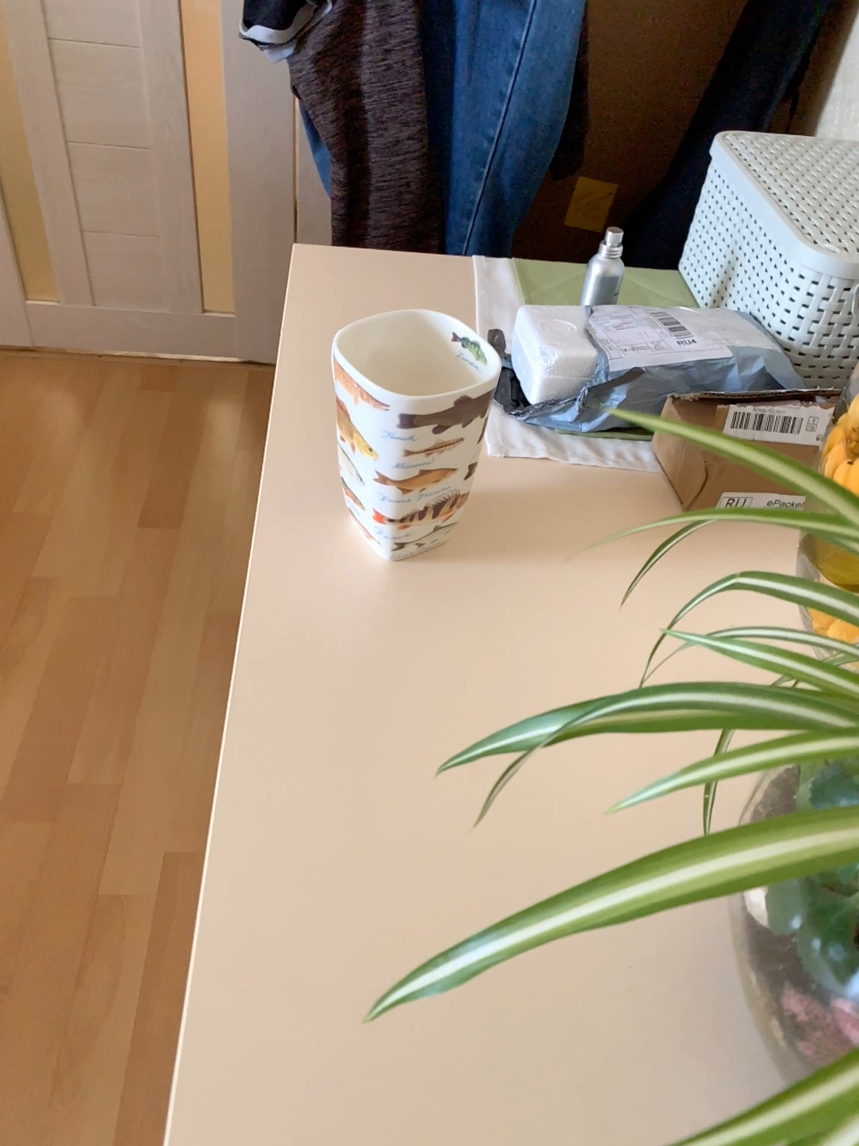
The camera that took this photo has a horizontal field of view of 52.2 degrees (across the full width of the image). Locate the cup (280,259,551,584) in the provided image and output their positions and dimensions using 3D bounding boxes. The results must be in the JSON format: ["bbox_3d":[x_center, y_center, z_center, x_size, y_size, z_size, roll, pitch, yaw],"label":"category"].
[{"bbox_3d":[-0.017,-0.100,0.557,0.100,0.129,0.141,-21,51,-27],"label":"cup"}]
